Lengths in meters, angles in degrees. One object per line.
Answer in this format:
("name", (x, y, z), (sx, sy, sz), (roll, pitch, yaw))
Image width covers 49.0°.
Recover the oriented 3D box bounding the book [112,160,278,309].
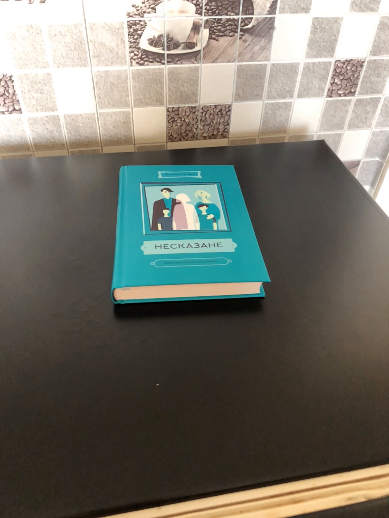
("book", (-0.009, -0.040, 0.469), (0.150, 0.030, 0.211), (-2, 44, -6))
